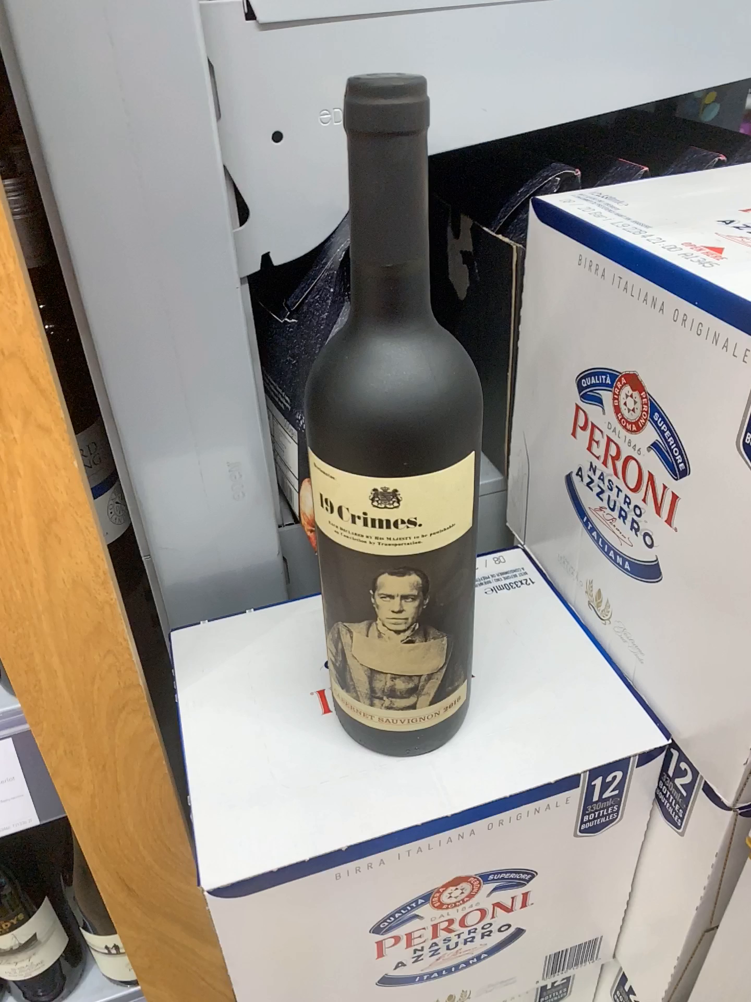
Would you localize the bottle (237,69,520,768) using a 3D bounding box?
[{"bbox_3d":[0.009,-0.012,0.324,0.078,0.288,0.075,-2,34,2],"label":"bottle"}]
